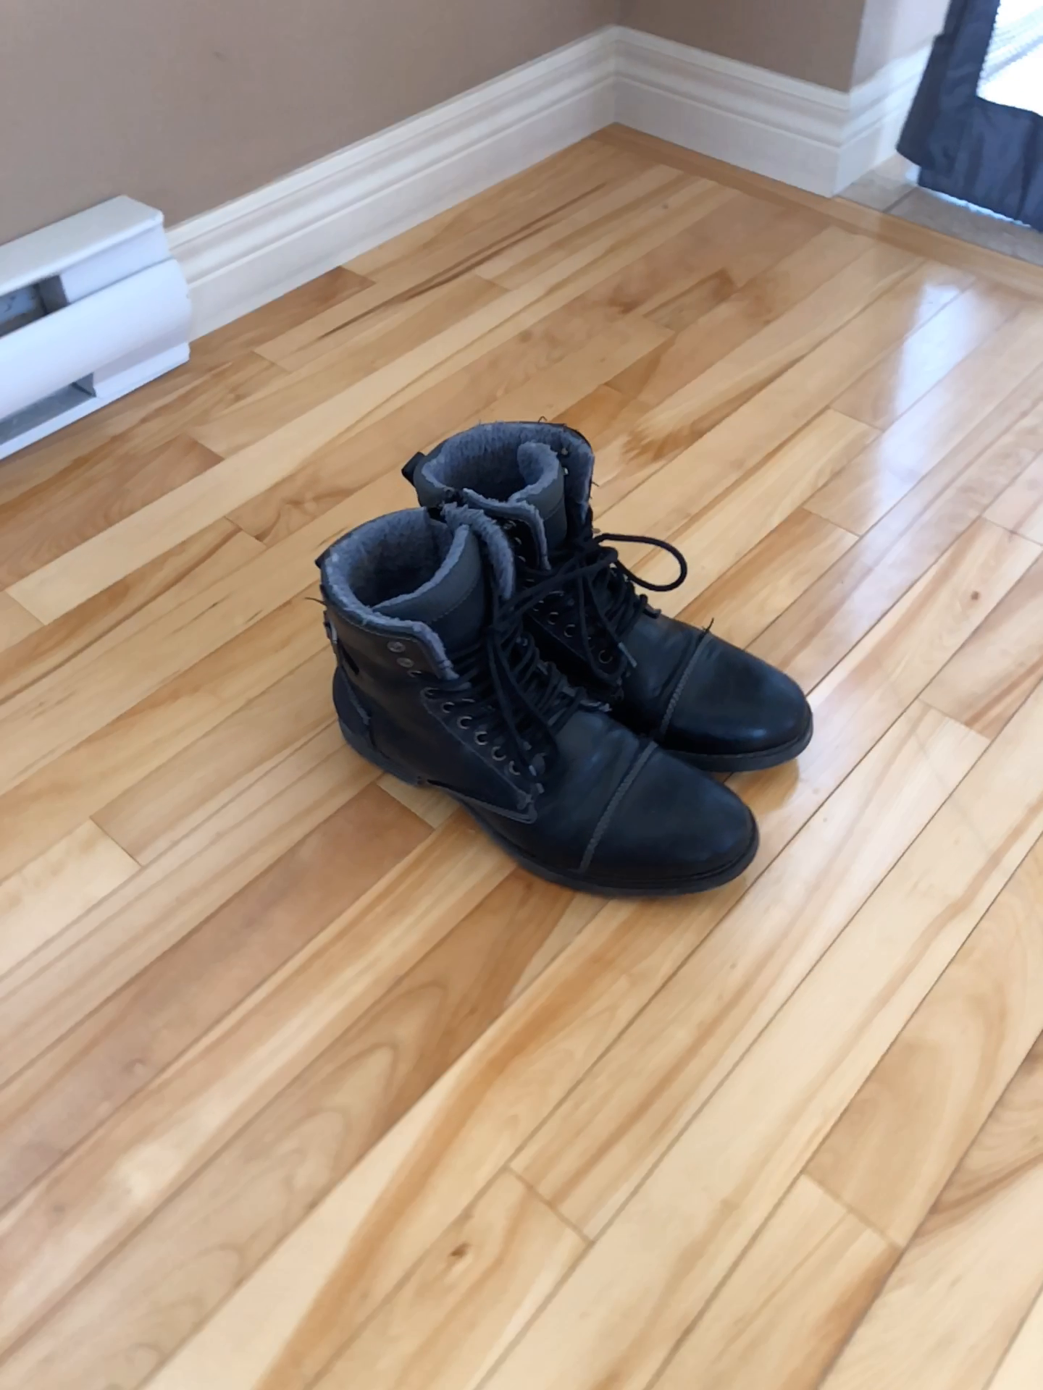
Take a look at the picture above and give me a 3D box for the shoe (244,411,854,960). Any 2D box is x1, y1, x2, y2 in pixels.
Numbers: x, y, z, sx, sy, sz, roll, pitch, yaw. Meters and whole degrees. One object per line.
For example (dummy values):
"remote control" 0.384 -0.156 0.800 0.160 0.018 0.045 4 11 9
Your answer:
"shoe" 0.011 -0.008 0.661 0.290 0.199 0.120 23 53 20

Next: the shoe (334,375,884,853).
"shoe" 0.050 -0.055 0.749 0.300 0.199 0.120 21 52 18
